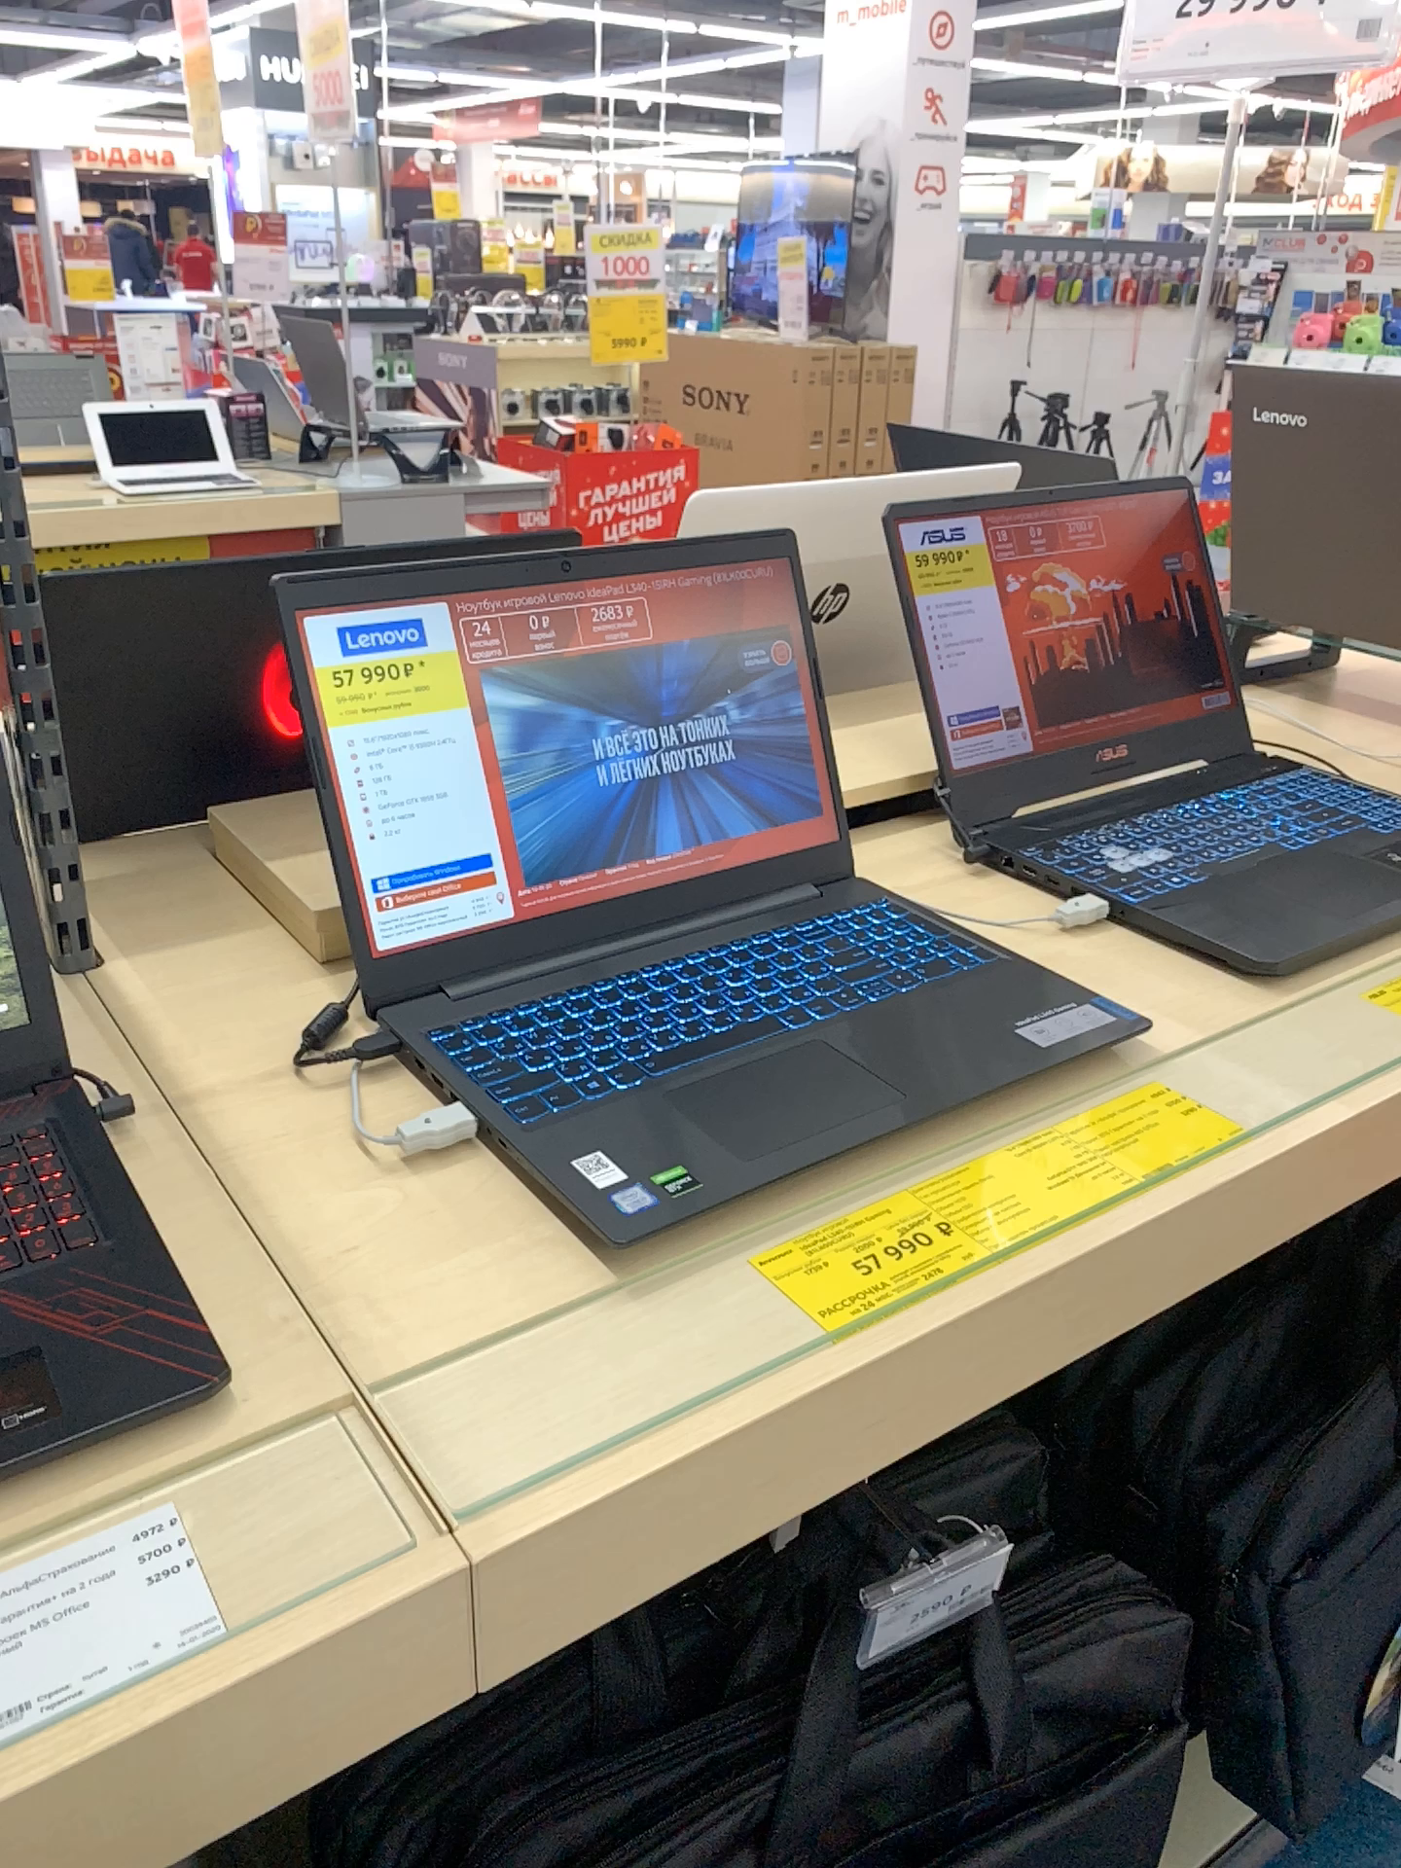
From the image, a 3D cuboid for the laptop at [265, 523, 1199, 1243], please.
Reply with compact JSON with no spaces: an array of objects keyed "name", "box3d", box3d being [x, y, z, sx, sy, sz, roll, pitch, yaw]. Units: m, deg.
[{"name":"laptop","box3d":[0.005,-0.073,0.802,0.358,0.223,0.348,-16,30,-33]}]
